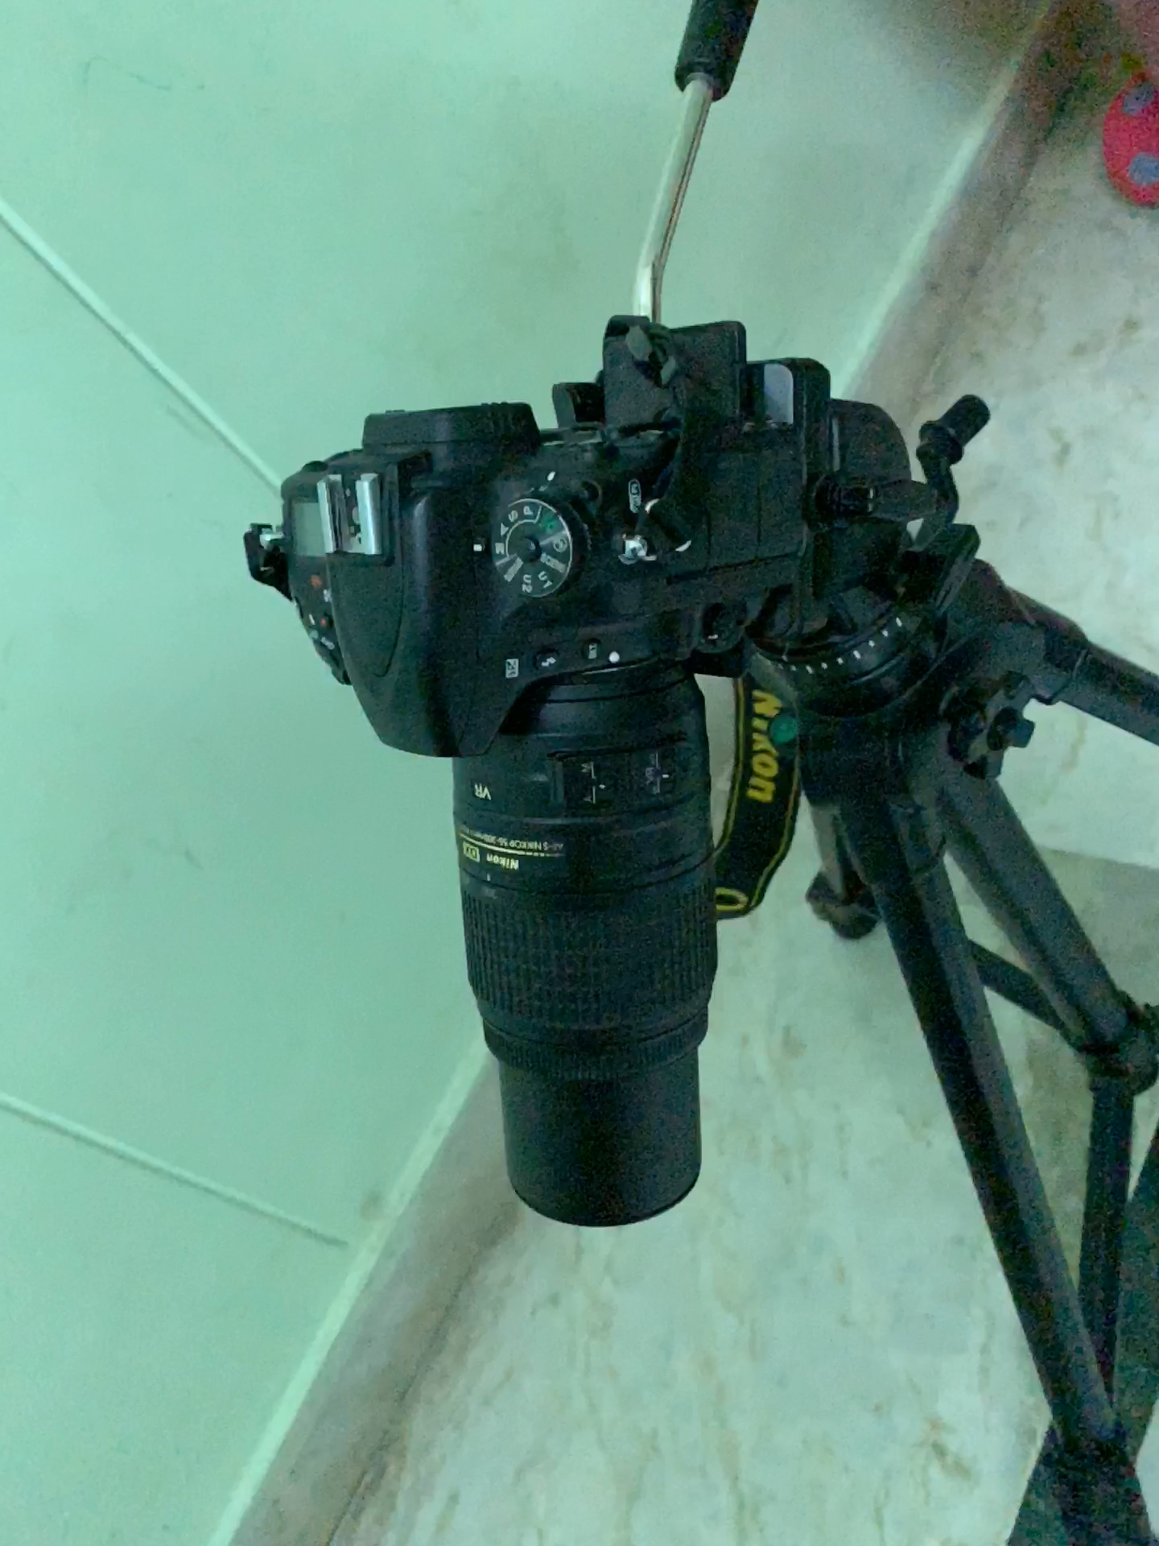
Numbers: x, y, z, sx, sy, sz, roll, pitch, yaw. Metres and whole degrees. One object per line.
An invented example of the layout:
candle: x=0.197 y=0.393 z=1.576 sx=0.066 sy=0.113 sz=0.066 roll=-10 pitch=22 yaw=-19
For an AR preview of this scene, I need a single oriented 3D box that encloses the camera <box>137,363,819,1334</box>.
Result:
camera: x=-0.023 y=0.003 z=0.332 sx=0.116 sy=0.214 sz=0.131 roll=-17 pitch=22 yaw=-41
